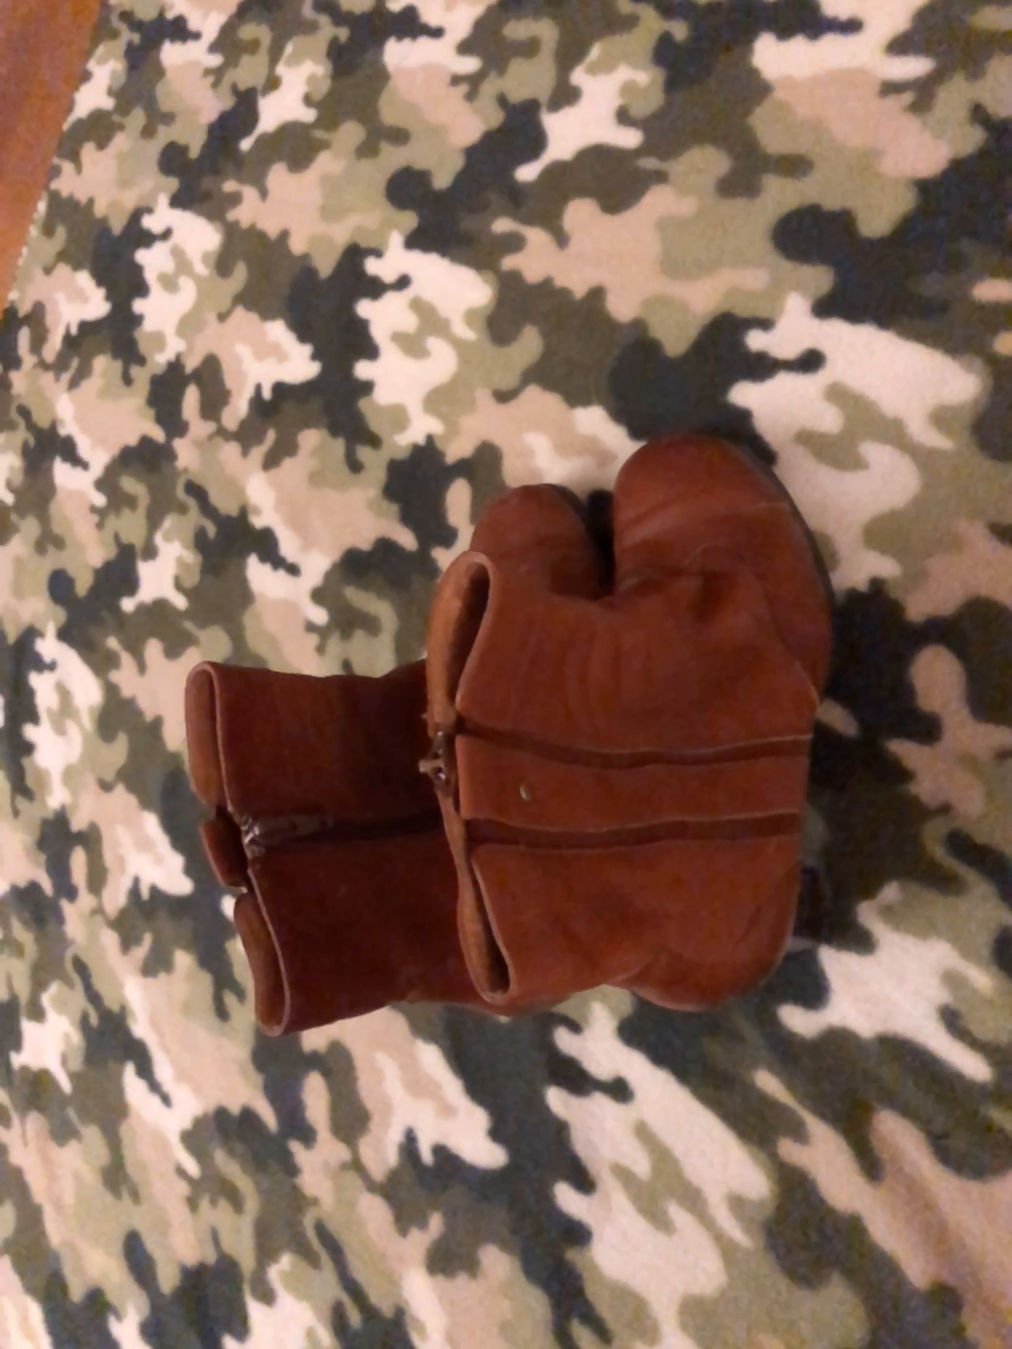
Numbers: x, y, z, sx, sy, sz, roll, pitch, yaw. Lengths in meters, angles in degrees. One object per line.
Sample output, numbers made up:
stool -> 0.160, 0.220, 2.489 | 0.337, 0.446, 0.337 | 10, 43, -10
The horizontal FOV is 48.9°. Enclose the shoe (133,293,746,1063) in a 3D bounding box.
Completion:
shoe -> -0.022, 0.011, 0.411 | 0.090, 0.189, 0.220 | -24, 67, 34

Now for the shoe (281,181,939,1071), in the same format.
shoe -> 0.038, -0.002, 0.364 | 0.090, 0.189, 0.220 | -21, 69, 35
